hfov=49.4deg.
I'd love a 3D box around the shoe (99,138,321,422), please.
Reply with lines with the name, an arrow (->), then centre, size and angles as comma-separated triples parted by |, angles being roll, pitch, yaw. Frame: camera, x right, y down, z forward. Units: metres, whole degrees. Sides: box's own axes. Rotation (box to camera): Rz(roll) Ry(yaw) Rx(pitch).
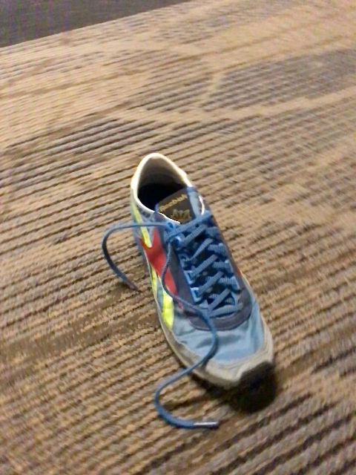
shoe -> 0.013, 0.027, 0.397 | 0.101, 0.095, 0.260 | -20, 56, -13
